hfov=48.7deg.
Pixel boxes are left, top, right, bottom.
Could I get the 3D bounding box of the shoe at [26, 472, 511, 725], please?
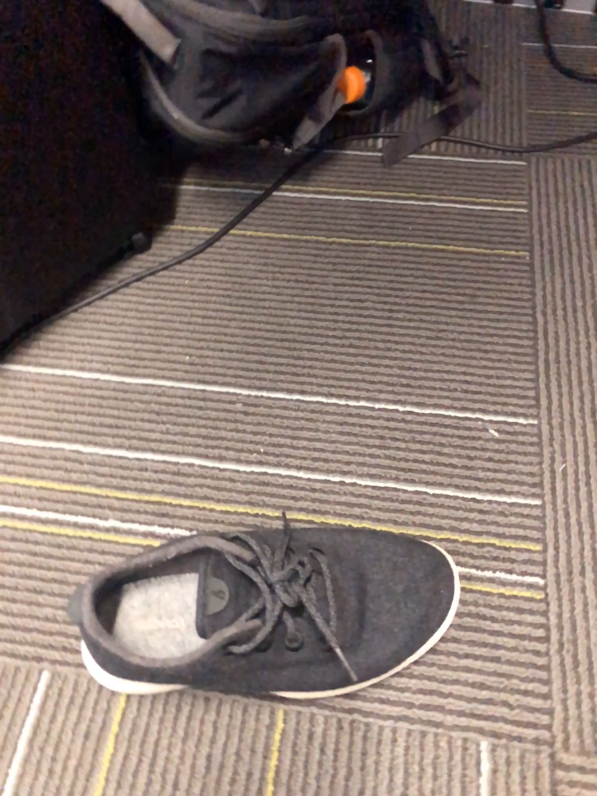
[{"bbox_3d":[-0.020,0.129,0.427,0.270,0.070,0.120,-5,58,1],"label":"shoe"}]
